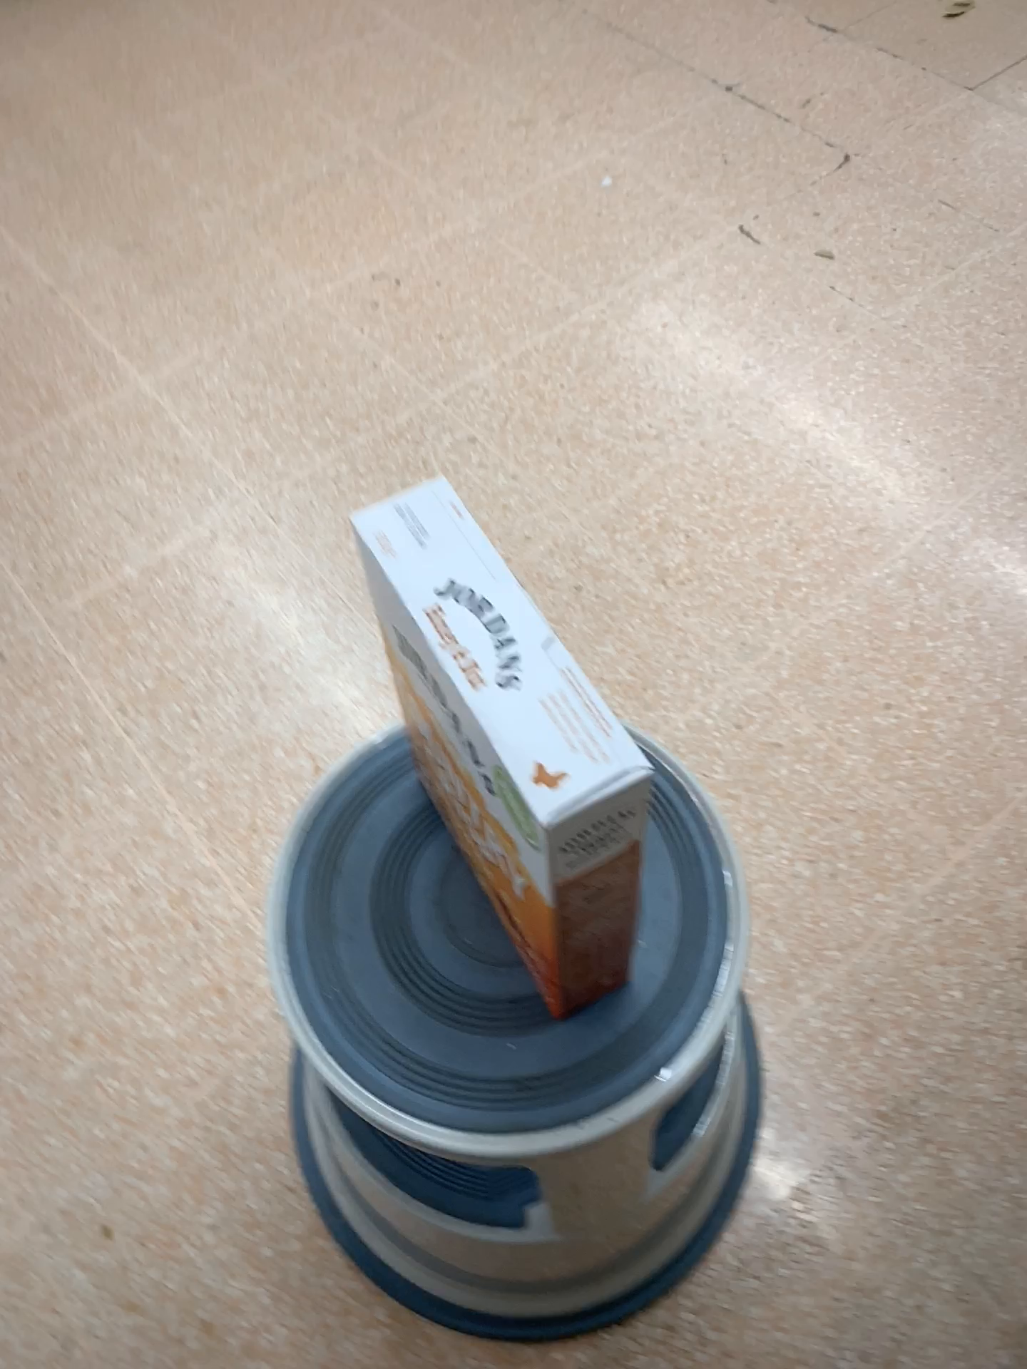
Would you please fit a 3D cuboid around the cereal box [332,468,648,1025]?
[{"bbox_3d":[-0.011,0.047,0.537,0.050,0.258,0.181,-26,60,-14],"label":"cereal box"}]
